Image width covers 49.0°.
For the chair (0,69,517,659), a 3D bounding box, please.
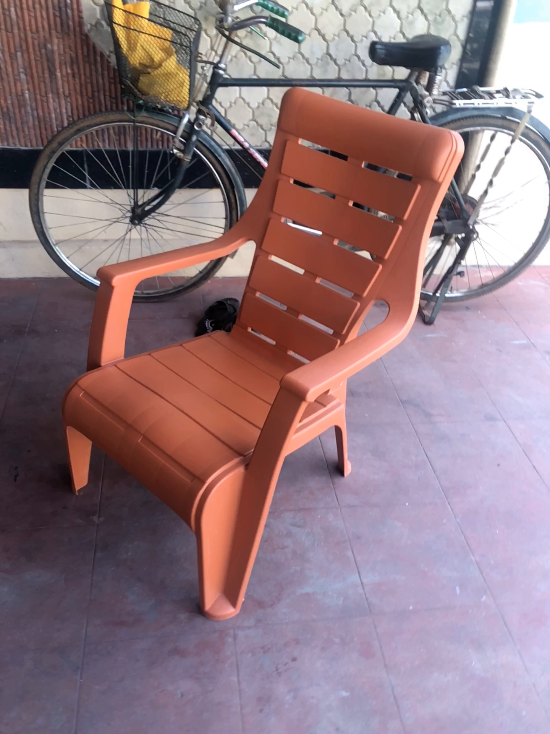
[{"bbox_3d":[-0.086,-0.093,1.278,0.691,0.786,0.764,30,44,30],"label":"chair"}]
